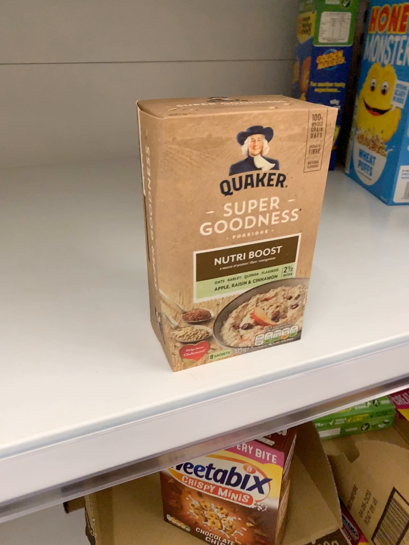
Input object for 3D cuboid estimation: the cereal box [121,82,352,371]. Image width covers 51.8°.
[{"bbox_3d":[0.019,-0.037,0.334,0.140,0.198,0.071,-10,31,-18],"label":"cereal box"}]
